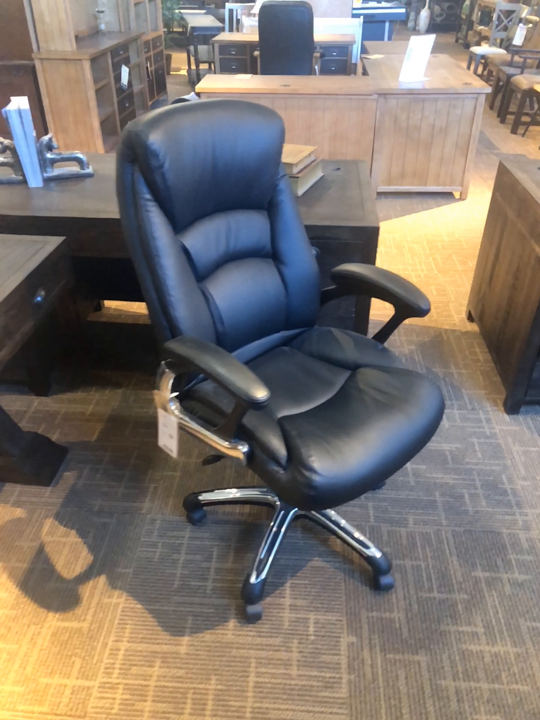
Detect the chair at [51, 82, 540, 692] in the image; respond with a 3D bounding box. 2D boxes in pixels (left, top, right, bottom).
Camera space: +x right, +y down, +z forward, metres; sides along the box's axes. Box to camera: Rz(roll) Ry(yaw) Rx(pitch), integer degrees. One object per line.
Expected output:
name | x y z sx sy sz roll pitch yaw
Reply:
chair | 0.071 0.002 1.476 0.703 1.118 0.770 -27 42 -35
